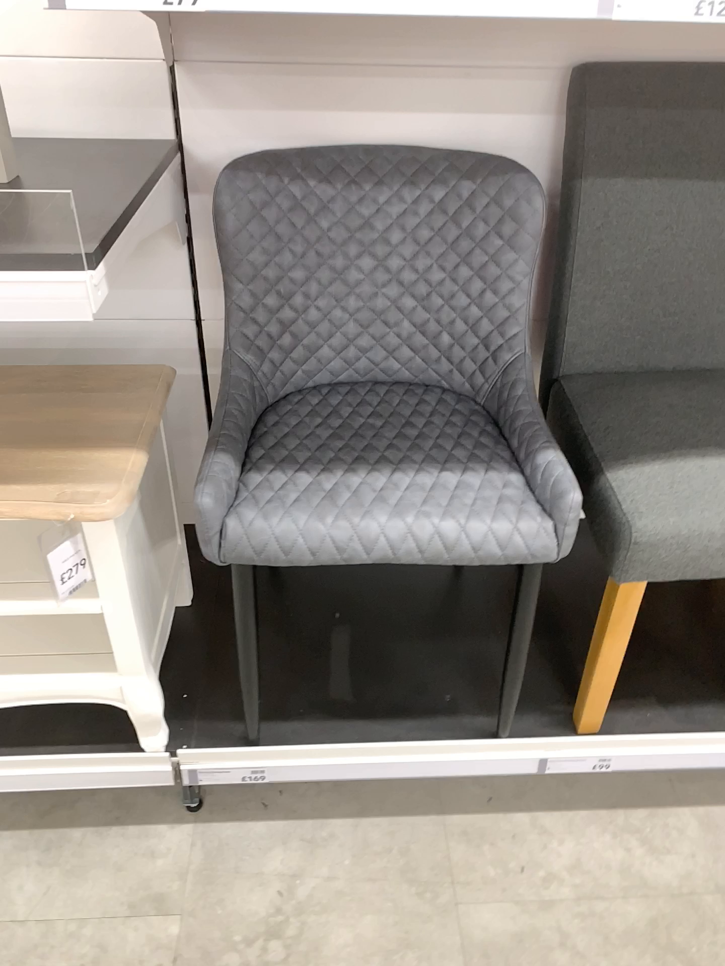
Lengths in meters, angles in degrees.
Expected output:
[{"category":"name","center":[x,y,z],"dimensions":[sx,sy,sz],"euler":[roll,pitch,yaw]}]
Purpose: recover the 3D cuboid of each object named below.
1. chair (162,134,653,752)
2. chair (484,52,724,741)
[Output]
[{"category":"chair","center":[0.025,-0.066,1.165],"dimensions":[0.480,0.792,0.545],"euler":[-1,34,-3]},{"category":"chair","center":[0.514,-0.129,1.173],"dimensions":[0.430,0.911,0.565],"euler":[-1,34,-4]}]
